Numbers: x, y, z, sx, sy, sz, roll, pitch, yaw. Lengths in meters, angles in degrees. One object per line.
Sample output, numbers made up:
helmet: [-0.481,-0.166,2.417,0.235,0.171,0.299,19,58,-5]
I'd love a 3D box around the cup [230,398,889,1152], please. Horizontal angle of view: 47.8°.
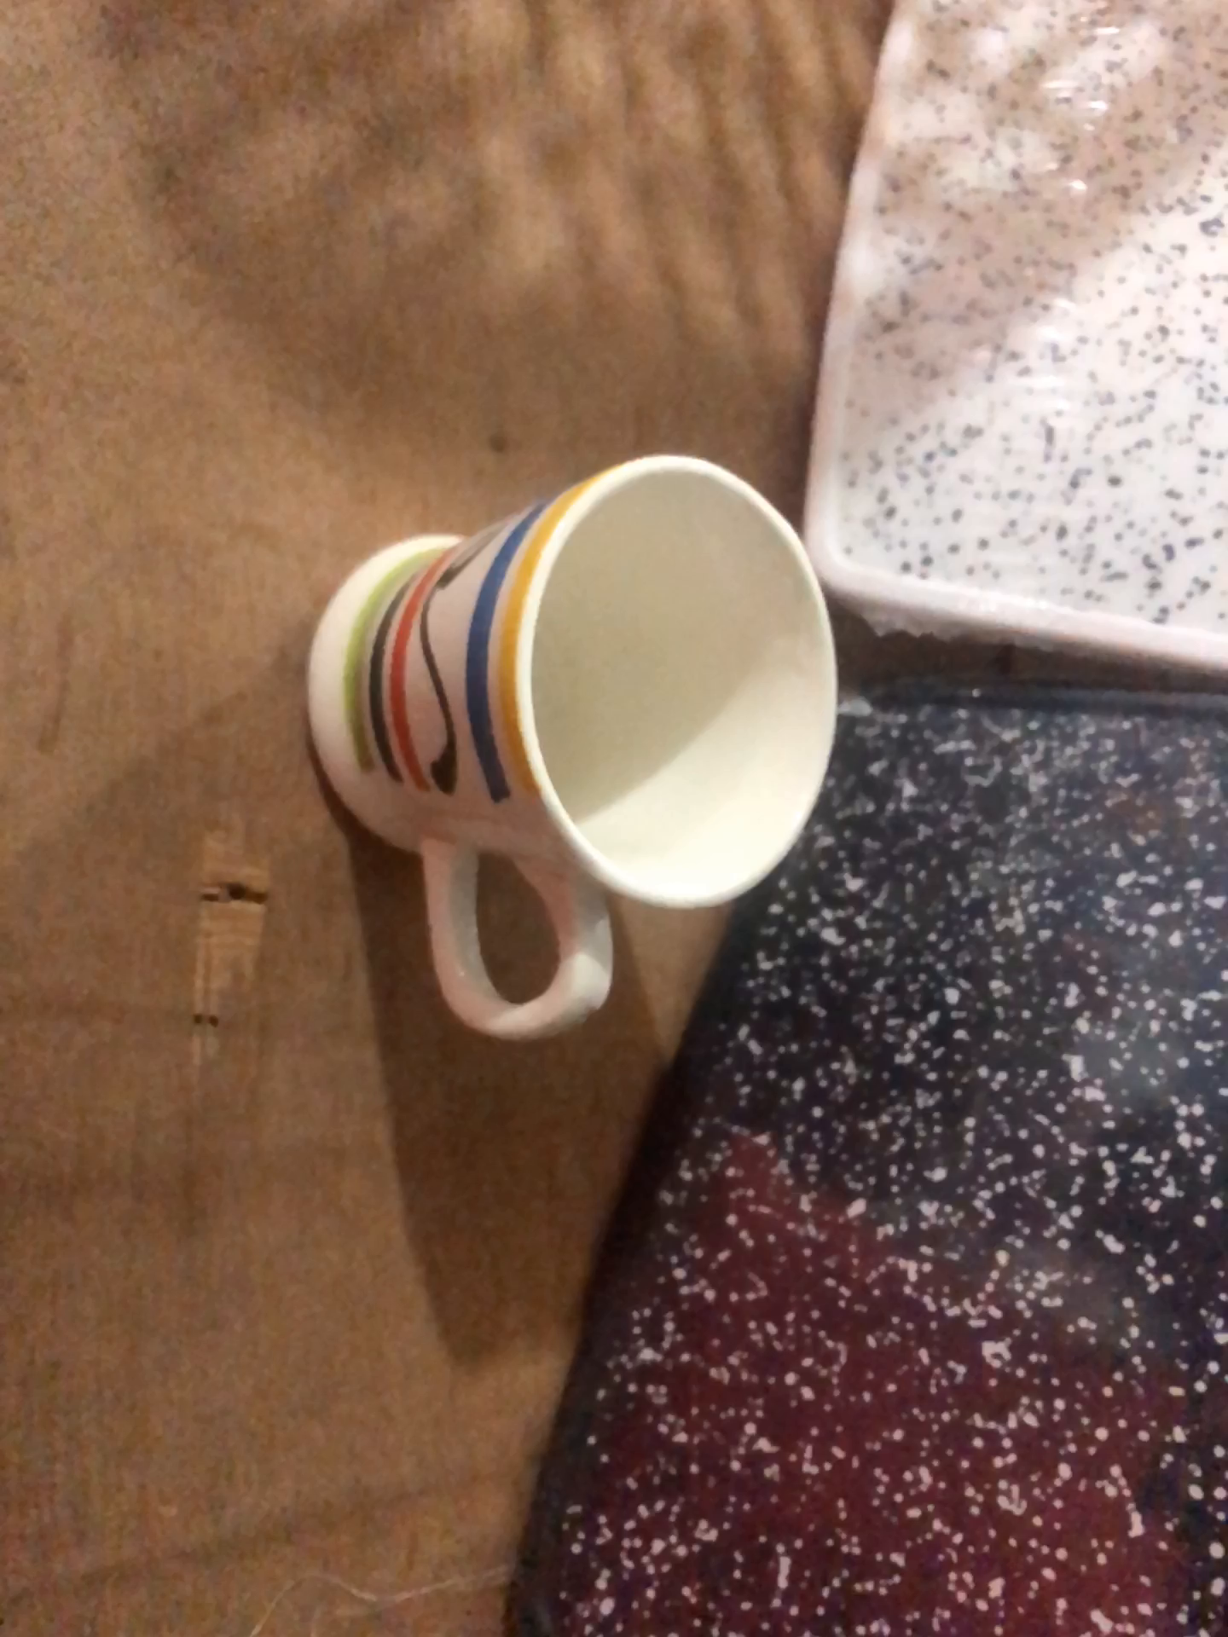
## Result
cup: [-0.010,-0.003,0.231,0.060,0.079,0.100,12,83,-40]
